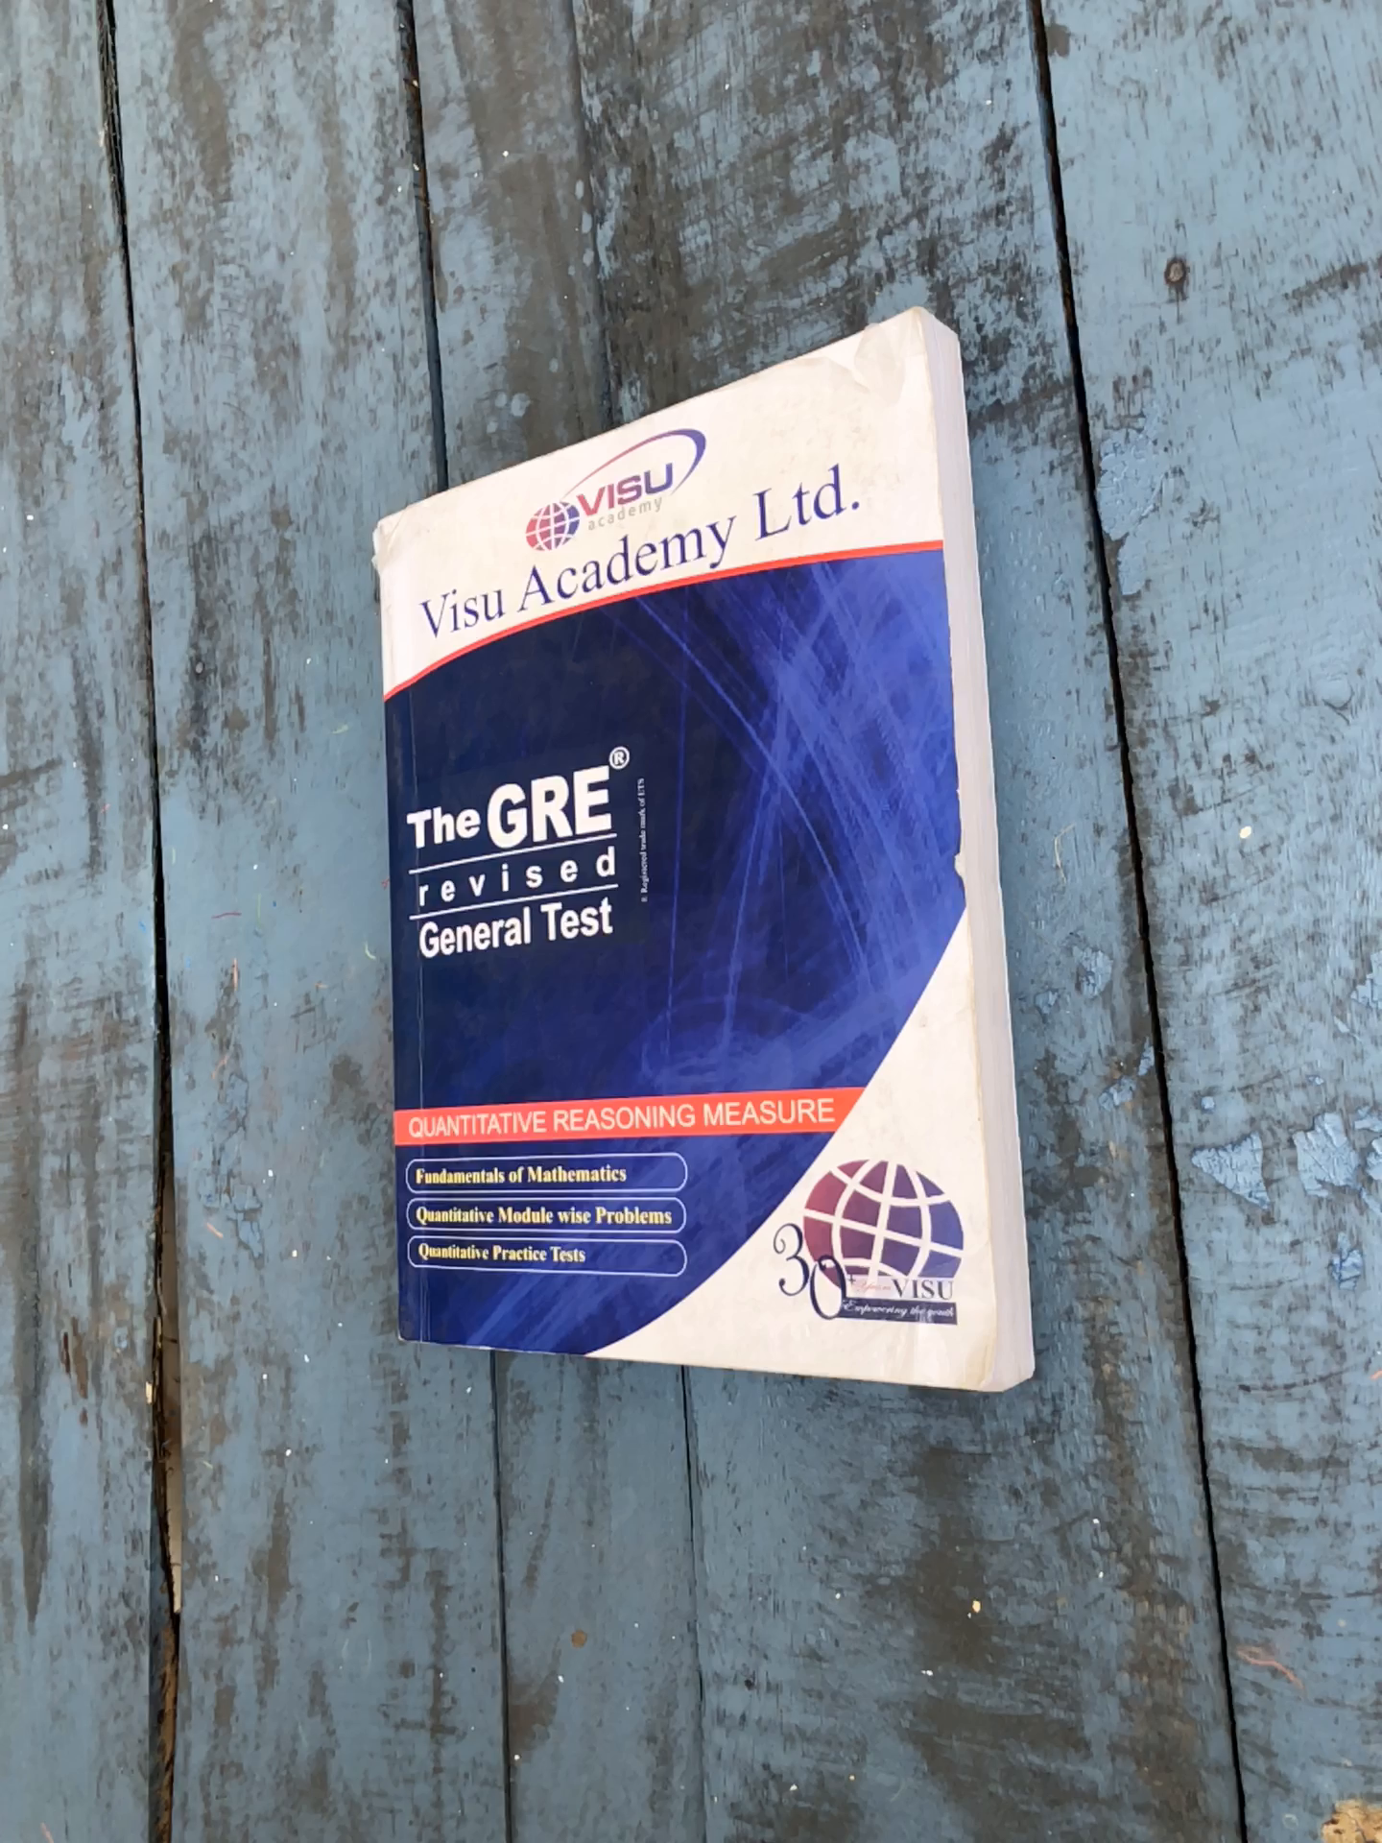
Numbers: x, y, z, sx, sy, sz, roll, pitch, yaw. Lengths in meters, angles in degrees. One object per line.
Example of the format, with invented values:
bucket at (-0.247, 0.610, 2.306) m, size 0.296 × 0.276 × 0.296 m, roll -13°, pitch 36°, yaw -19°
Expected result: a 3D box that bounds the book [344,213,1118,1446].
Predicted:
book at (-0.002, -0.015, 0.444) m, size 0.221 × 0.060 × 0.290 m, roll -7°, pitch 80°, yaw 37°
